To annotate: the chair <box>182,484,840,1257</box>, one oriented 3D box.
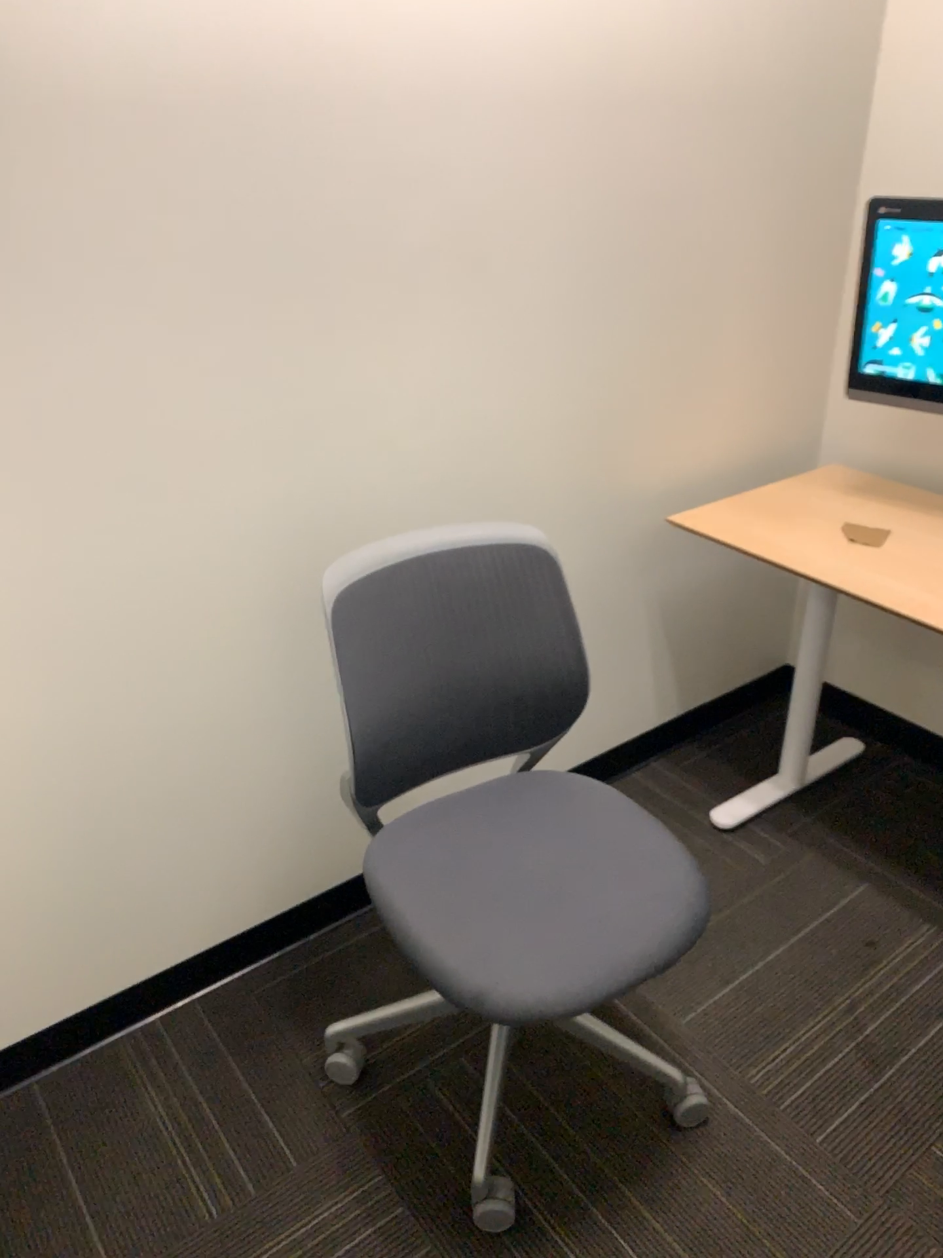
[{"bbox_3d":[-0.002,0.349,1.779,0.720,0.885,0.905,-14,30,-24],"label":"chair"}]
